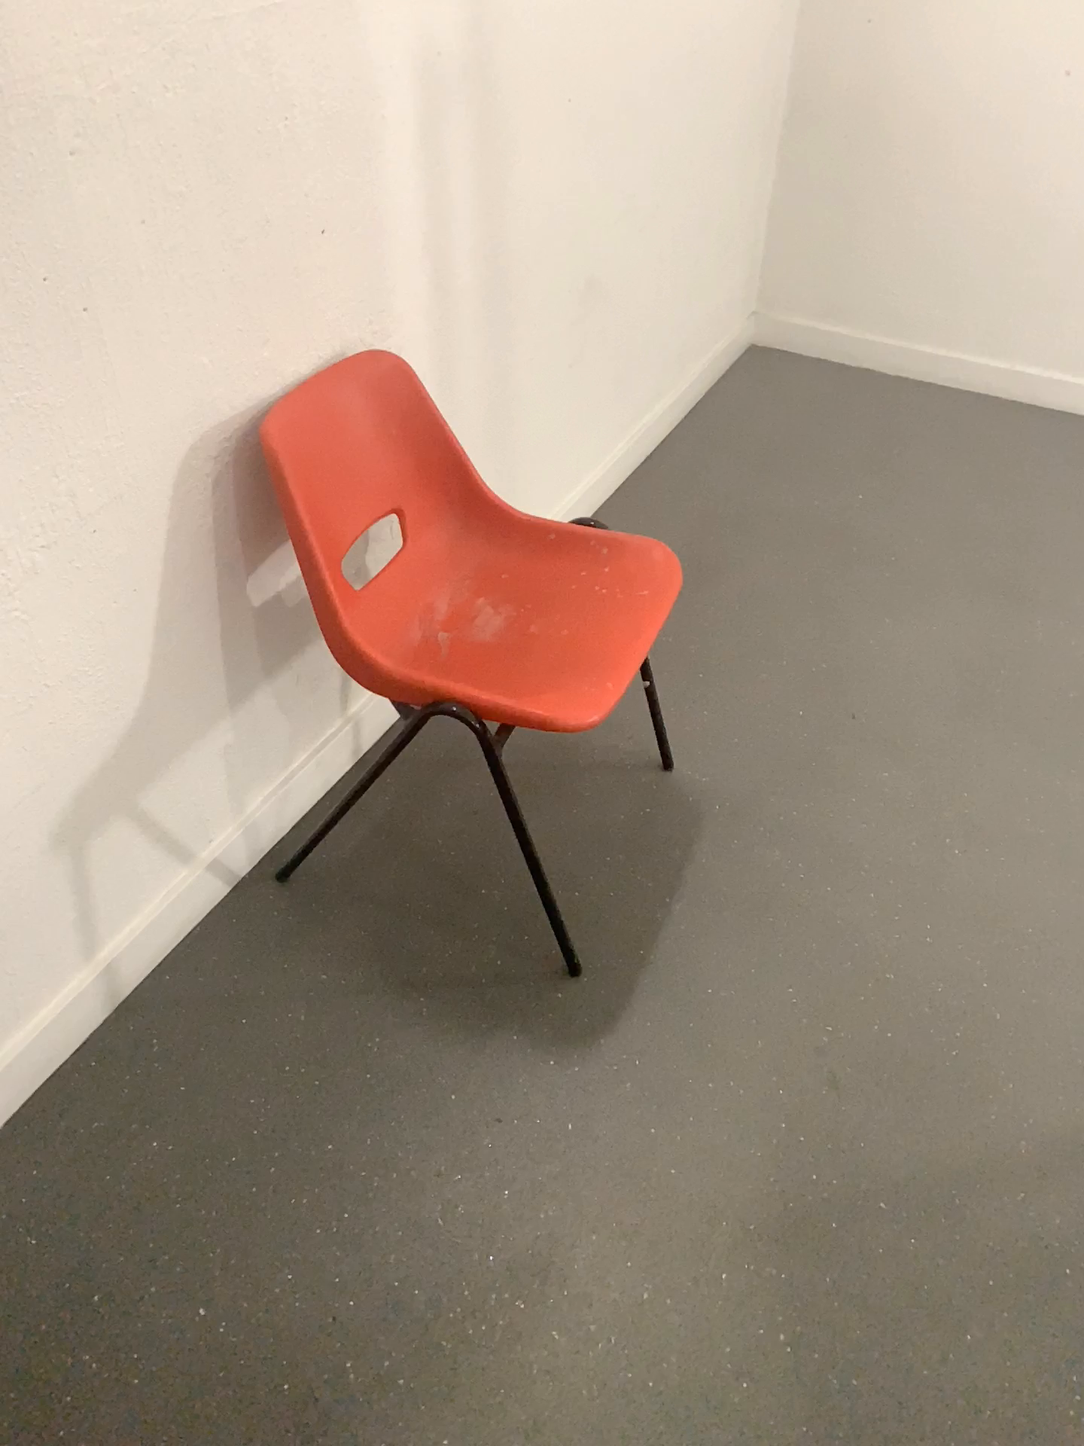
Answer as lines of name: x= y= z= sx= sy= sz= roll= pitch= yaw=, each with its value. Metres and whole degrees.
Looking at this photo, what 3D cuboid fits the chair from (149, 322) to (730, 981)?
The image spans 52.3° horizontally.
chair: x=-0.111 y=-0.118 z=1.673 sx=0.591 sy=0.713 sz=0.514 roll=15 pitch=43 yaw=17
